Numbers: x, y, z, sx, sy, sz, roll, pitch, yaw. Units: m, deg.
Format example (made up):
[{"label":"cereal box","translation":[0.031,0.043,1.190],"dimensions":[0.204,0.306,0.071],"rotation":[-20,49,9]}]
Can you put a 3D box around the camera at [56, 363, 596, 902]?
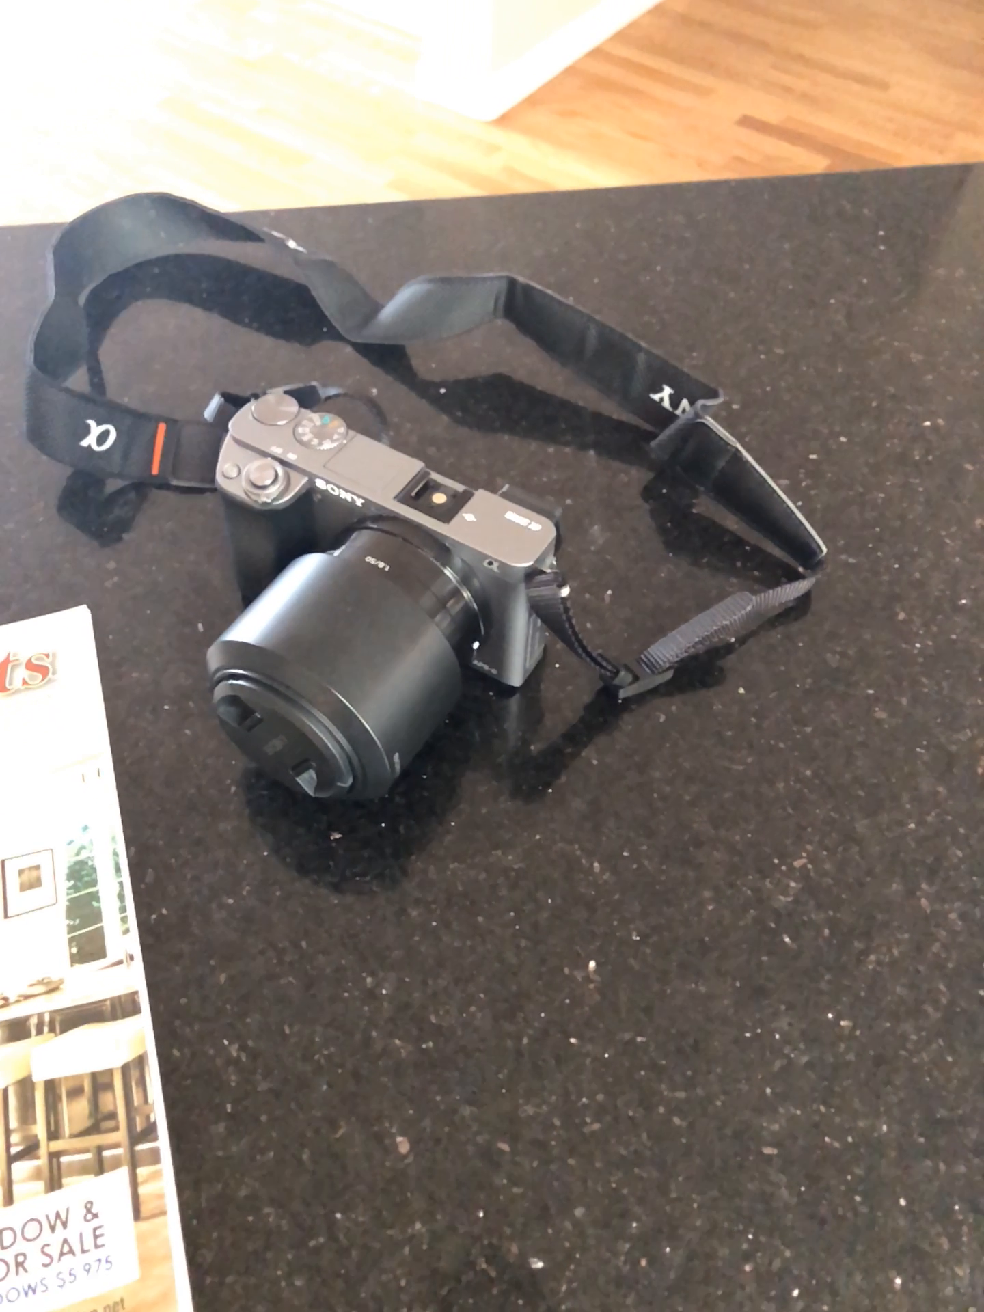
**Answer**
[{"label":"camera","translation":[-0.049,-0.009,0.366],"dimensions":[0.127,0.100,0.099],"rotation":[27,57,17]}]
